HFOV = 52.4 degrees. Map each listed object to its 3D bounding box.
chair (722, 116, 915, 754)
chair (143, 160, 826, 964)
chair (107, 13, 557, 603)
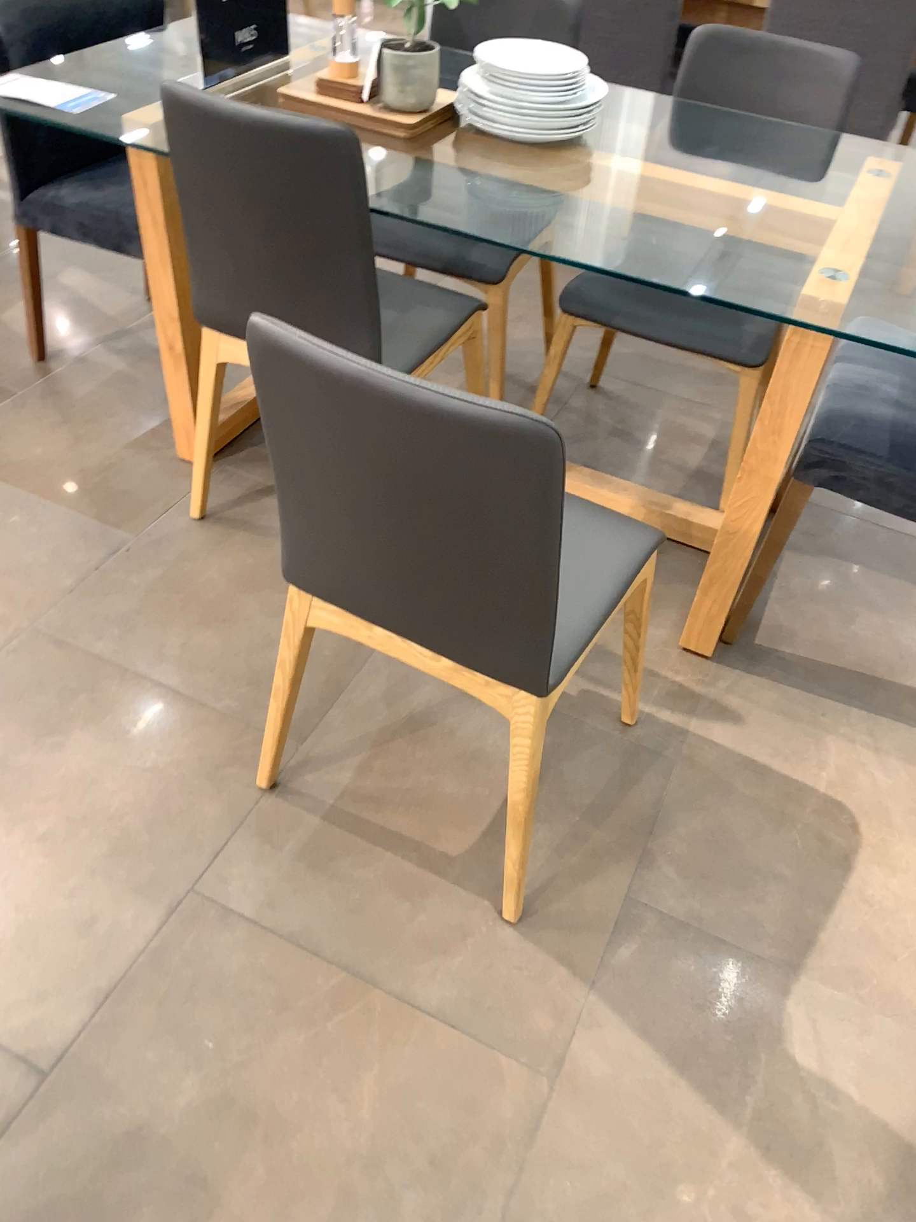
[{"bbox_3d":[0.905,-0.299,1.632,0.587,0.813,0.547,18,45,12],"label":"chair"},{"bbox_3d":[0.034,-0.061,1.295,0.563,0.813,0.540,23,46,18],"label":"chair"},{"bbox_3d":[-0.205,-0.557,1.760,0.523,0.833,0.500,21,46,16],"label":"chair"}]
